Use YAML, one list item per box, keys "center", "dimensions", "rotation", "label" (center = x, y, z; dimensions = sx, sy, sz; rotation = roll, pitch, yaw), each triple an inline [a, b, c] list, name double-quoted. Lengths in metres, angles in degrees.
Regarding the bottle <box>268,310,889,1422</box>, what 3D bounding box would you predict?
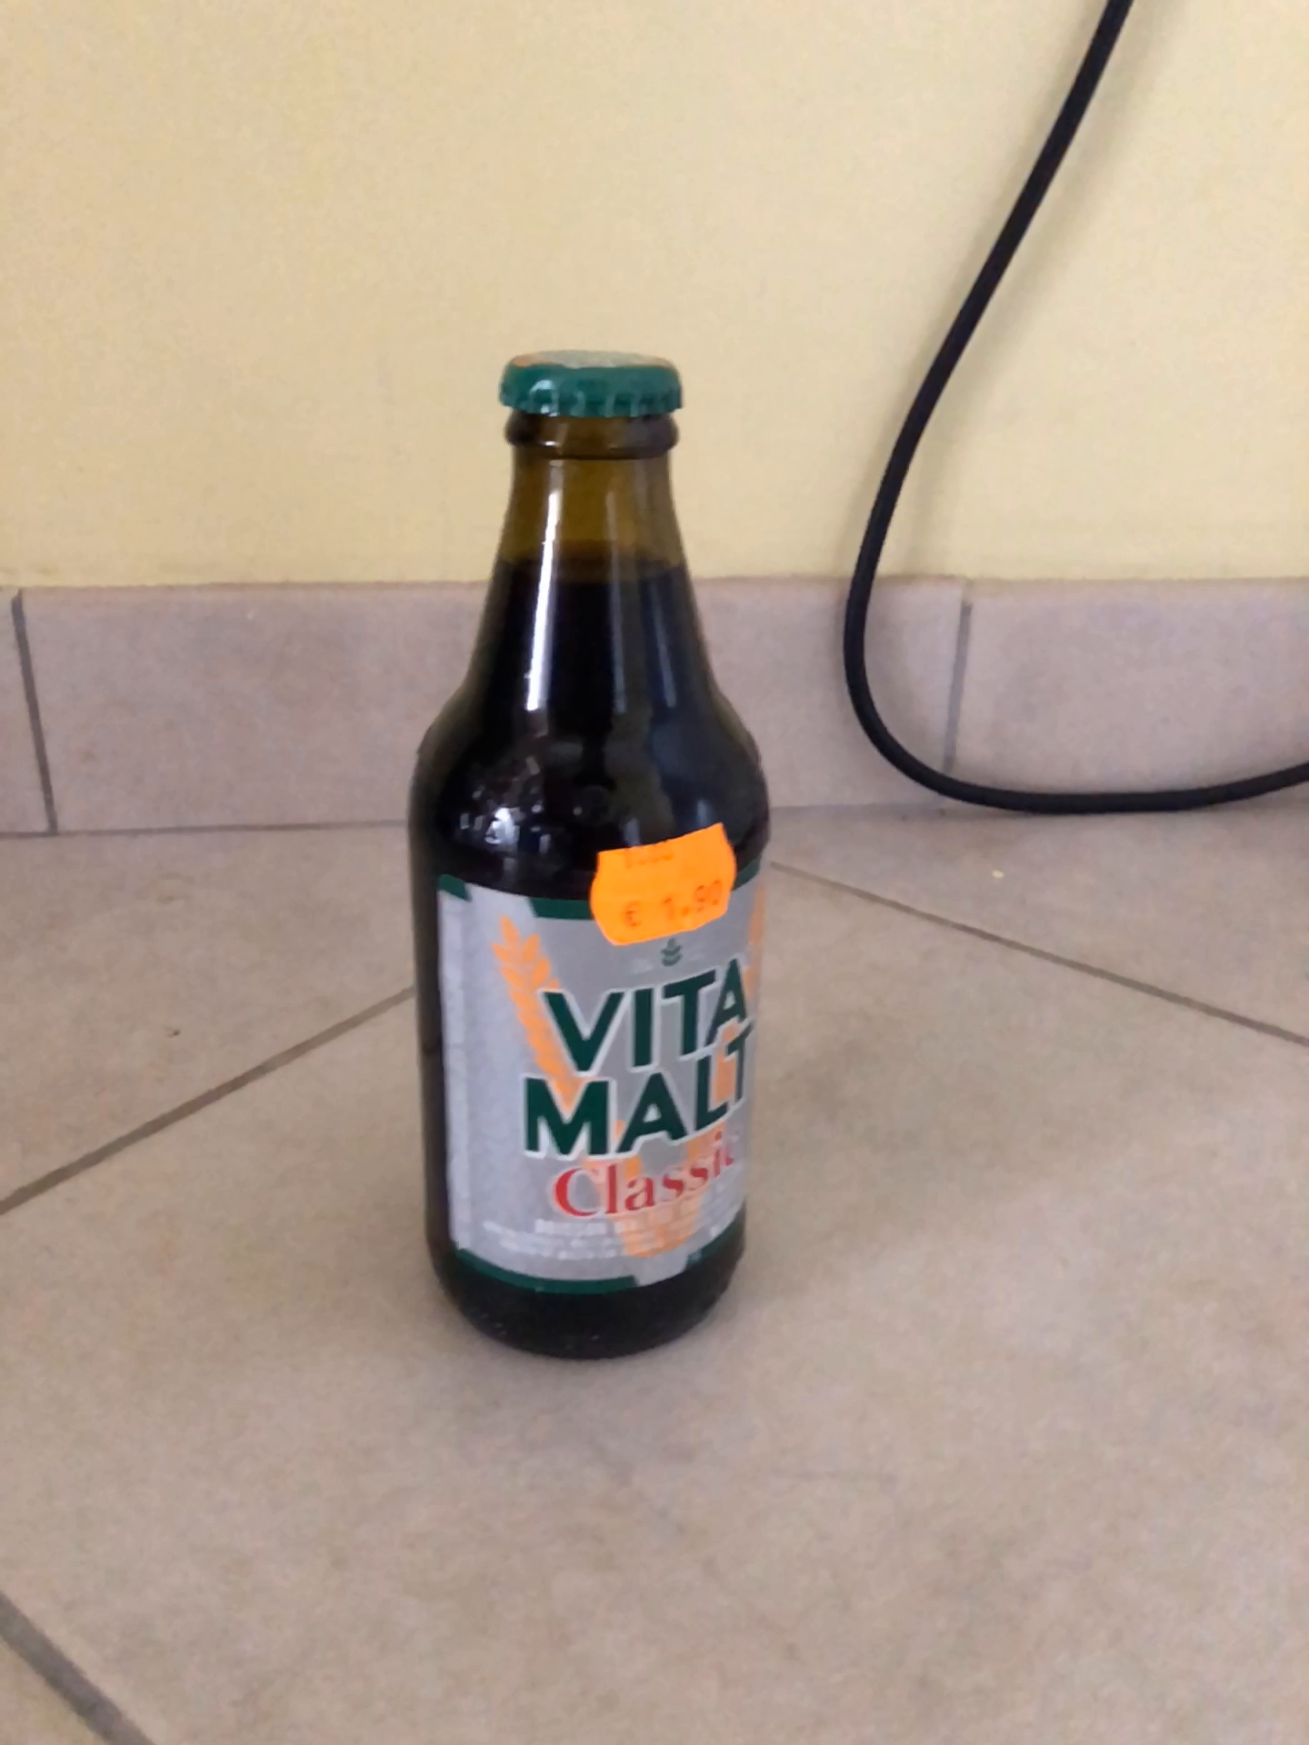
- center: [-0.017, -0.003, 0.251]
  dimensions: [0.070, 0.169, 0.070]
  rotation: [2, 26, -1]
  label: "bottle"
